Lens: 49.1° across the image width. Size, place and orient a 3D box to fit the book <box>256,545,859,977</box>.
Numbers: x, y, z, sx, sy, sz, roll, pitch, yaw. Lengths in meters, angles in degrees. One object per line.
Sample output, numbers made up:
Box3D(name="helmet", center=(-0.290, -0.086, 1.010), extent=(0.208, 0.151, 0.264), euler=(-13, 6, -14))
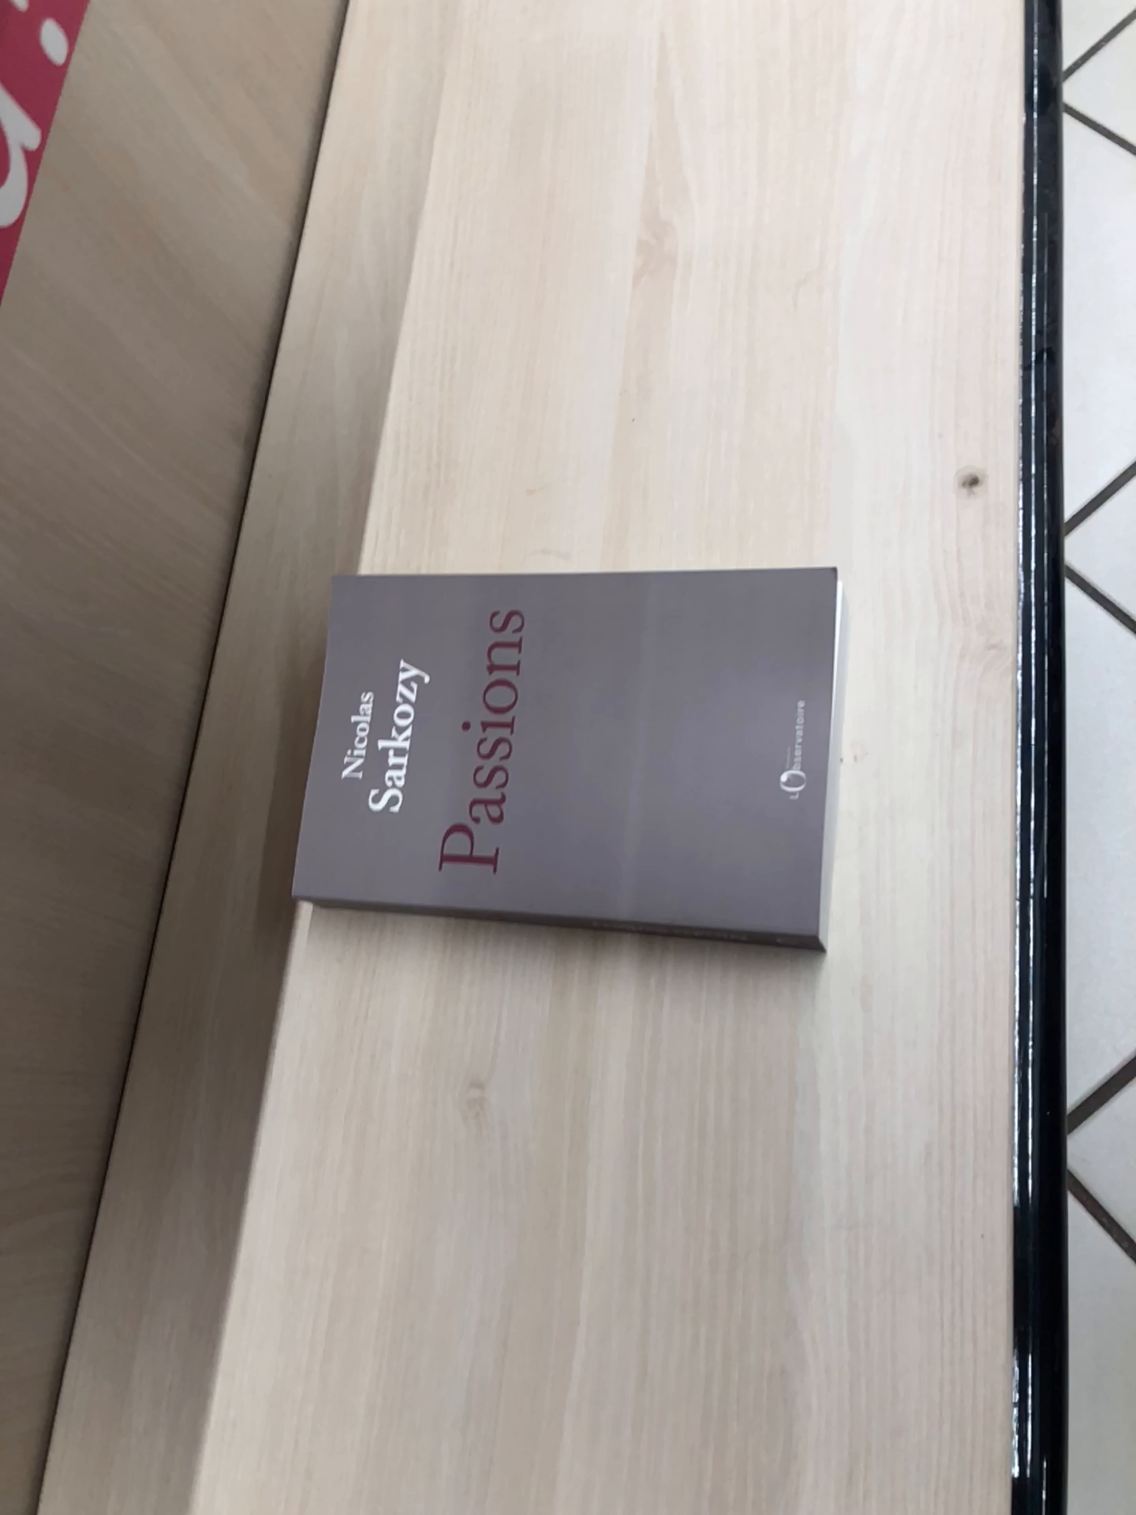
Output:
Box3D(name="book", center=(-0.002, -0.001, 0.501), extent=(0.224, 0.044, 0.157), euler=(1, 72, 17))
